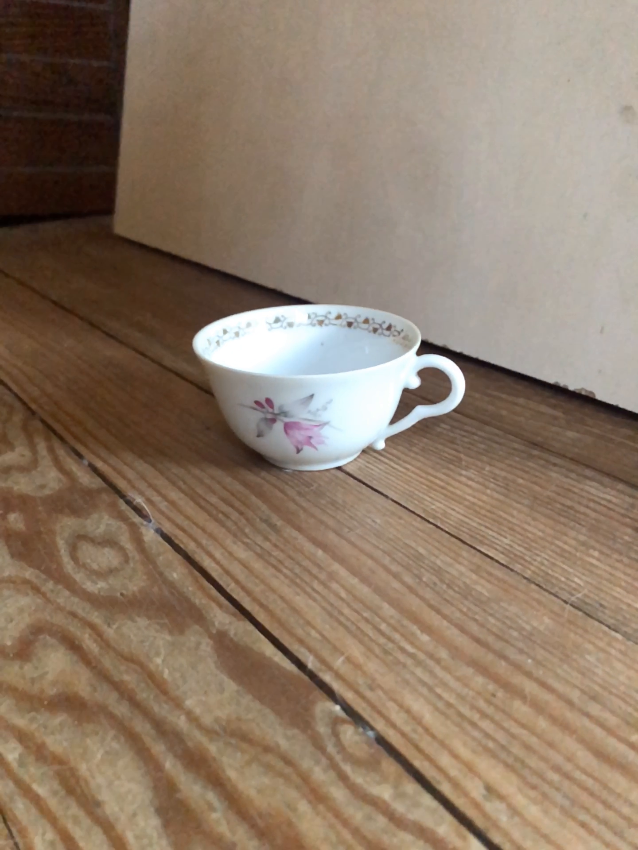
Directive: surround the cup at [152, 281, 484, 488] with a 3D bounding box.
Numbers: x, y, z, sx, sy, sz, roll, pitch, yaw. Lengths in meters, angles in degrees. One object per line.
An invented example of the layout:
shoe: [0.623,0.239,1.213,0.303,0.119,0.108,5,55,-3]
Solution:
cup: [0.005,-0.021,0.265,0.100,0.040,0.081,7,27,16]
